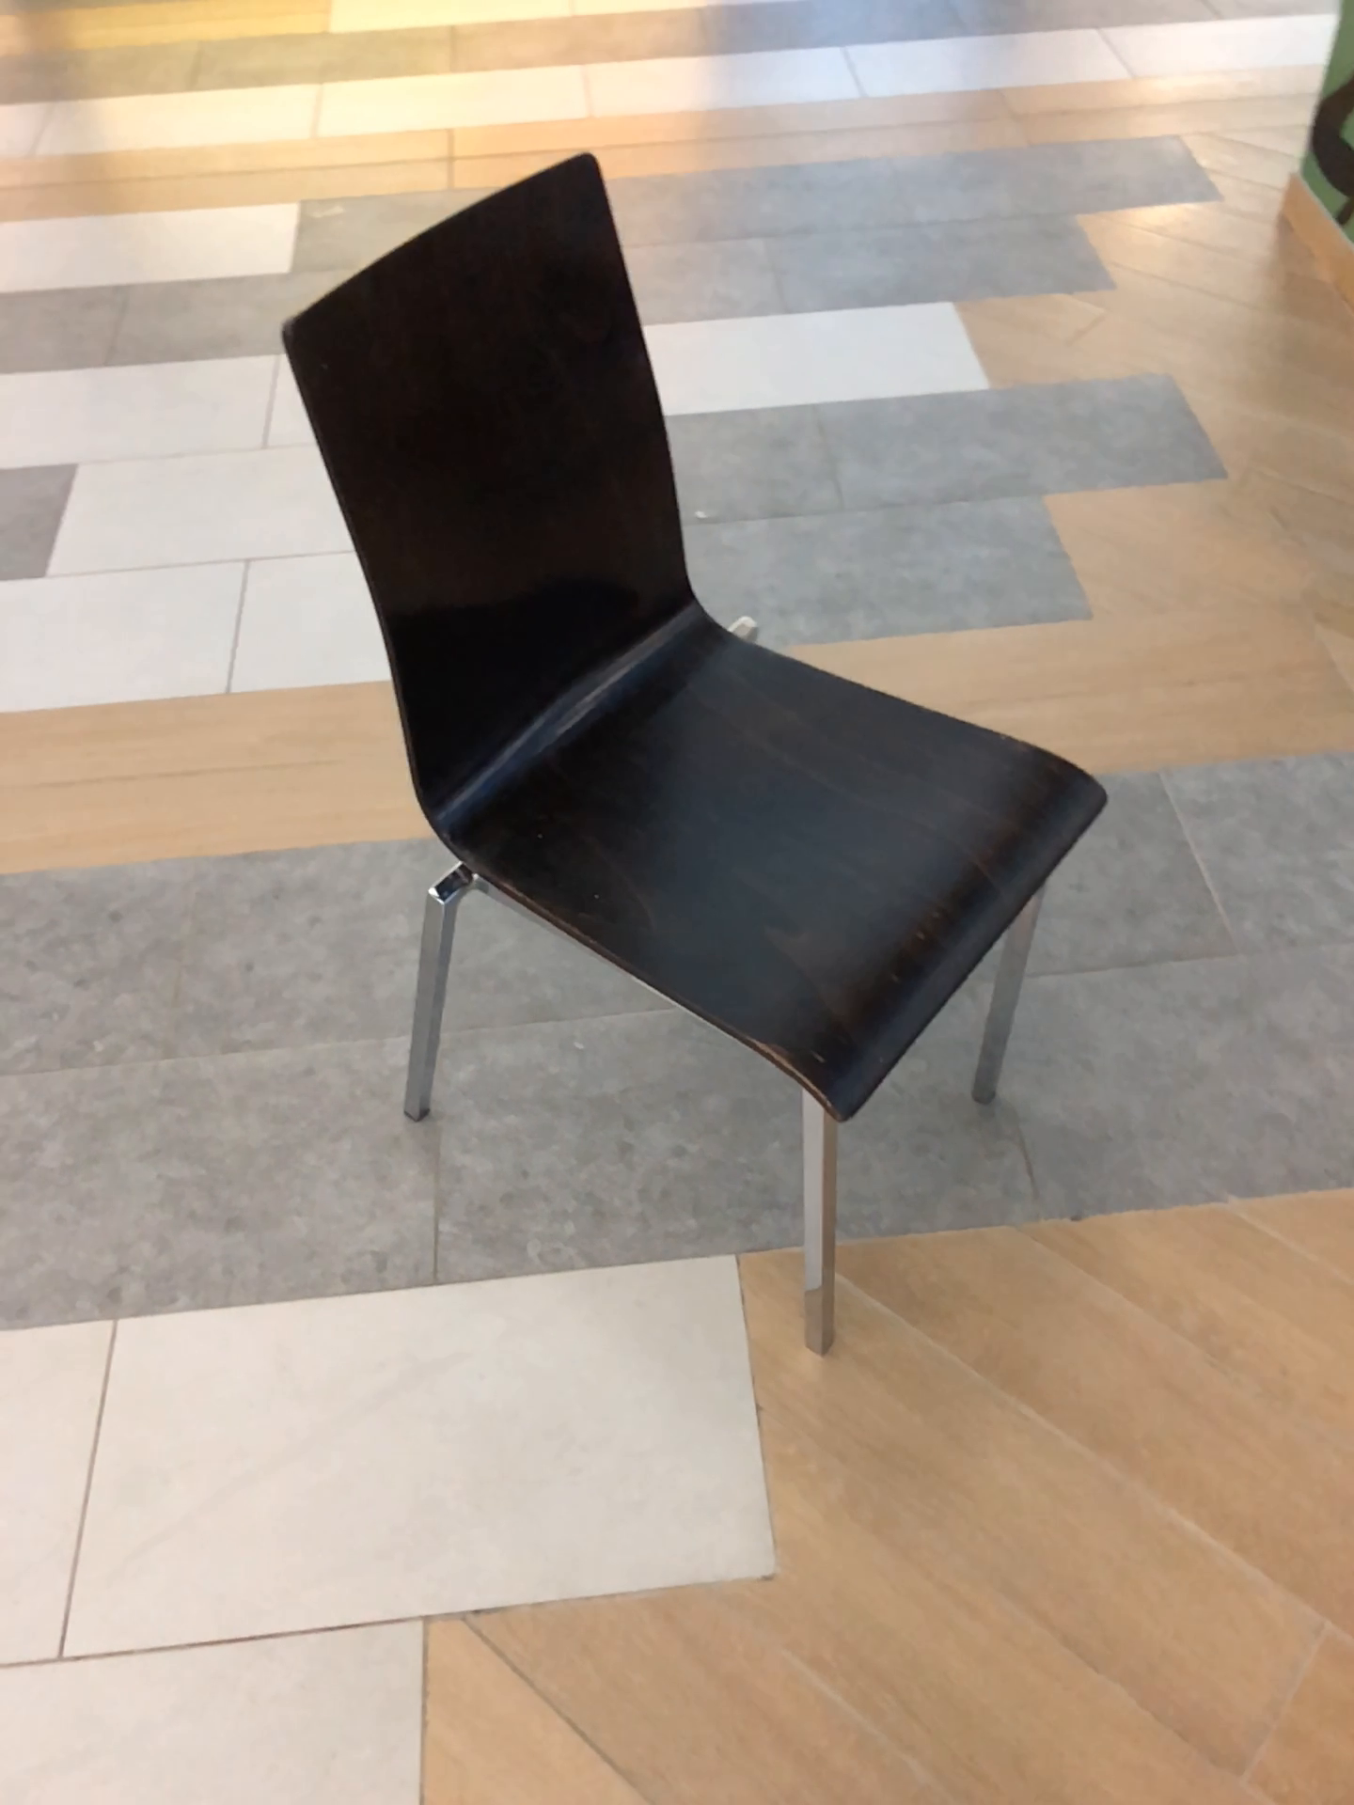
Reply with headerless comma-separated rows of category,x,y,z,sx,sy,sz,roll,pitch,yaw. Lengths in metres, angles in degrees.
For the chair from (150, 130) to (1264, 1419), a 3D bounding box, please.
chair,0.031,-0.067,1.240,0.543,0.847,0.435,29,56,25
